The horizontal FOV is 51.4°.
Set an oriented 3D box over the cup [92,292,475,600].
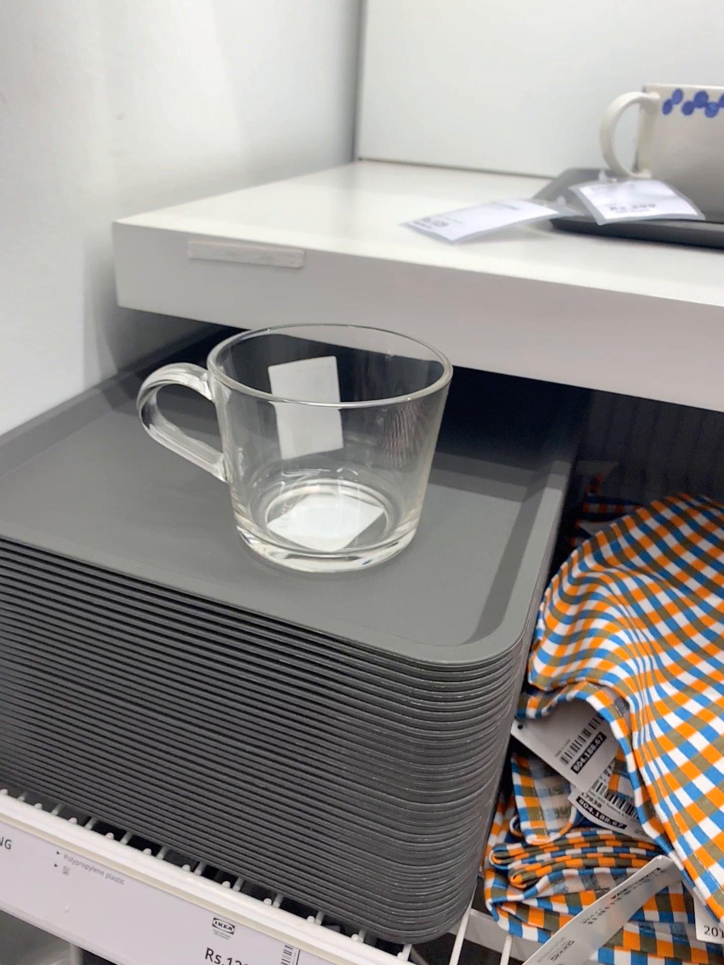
[{"bbox_3d":[-0.025,-0.023,0.319,0.130,0.080,0.100,8,28,8],"label":"cup"}]
